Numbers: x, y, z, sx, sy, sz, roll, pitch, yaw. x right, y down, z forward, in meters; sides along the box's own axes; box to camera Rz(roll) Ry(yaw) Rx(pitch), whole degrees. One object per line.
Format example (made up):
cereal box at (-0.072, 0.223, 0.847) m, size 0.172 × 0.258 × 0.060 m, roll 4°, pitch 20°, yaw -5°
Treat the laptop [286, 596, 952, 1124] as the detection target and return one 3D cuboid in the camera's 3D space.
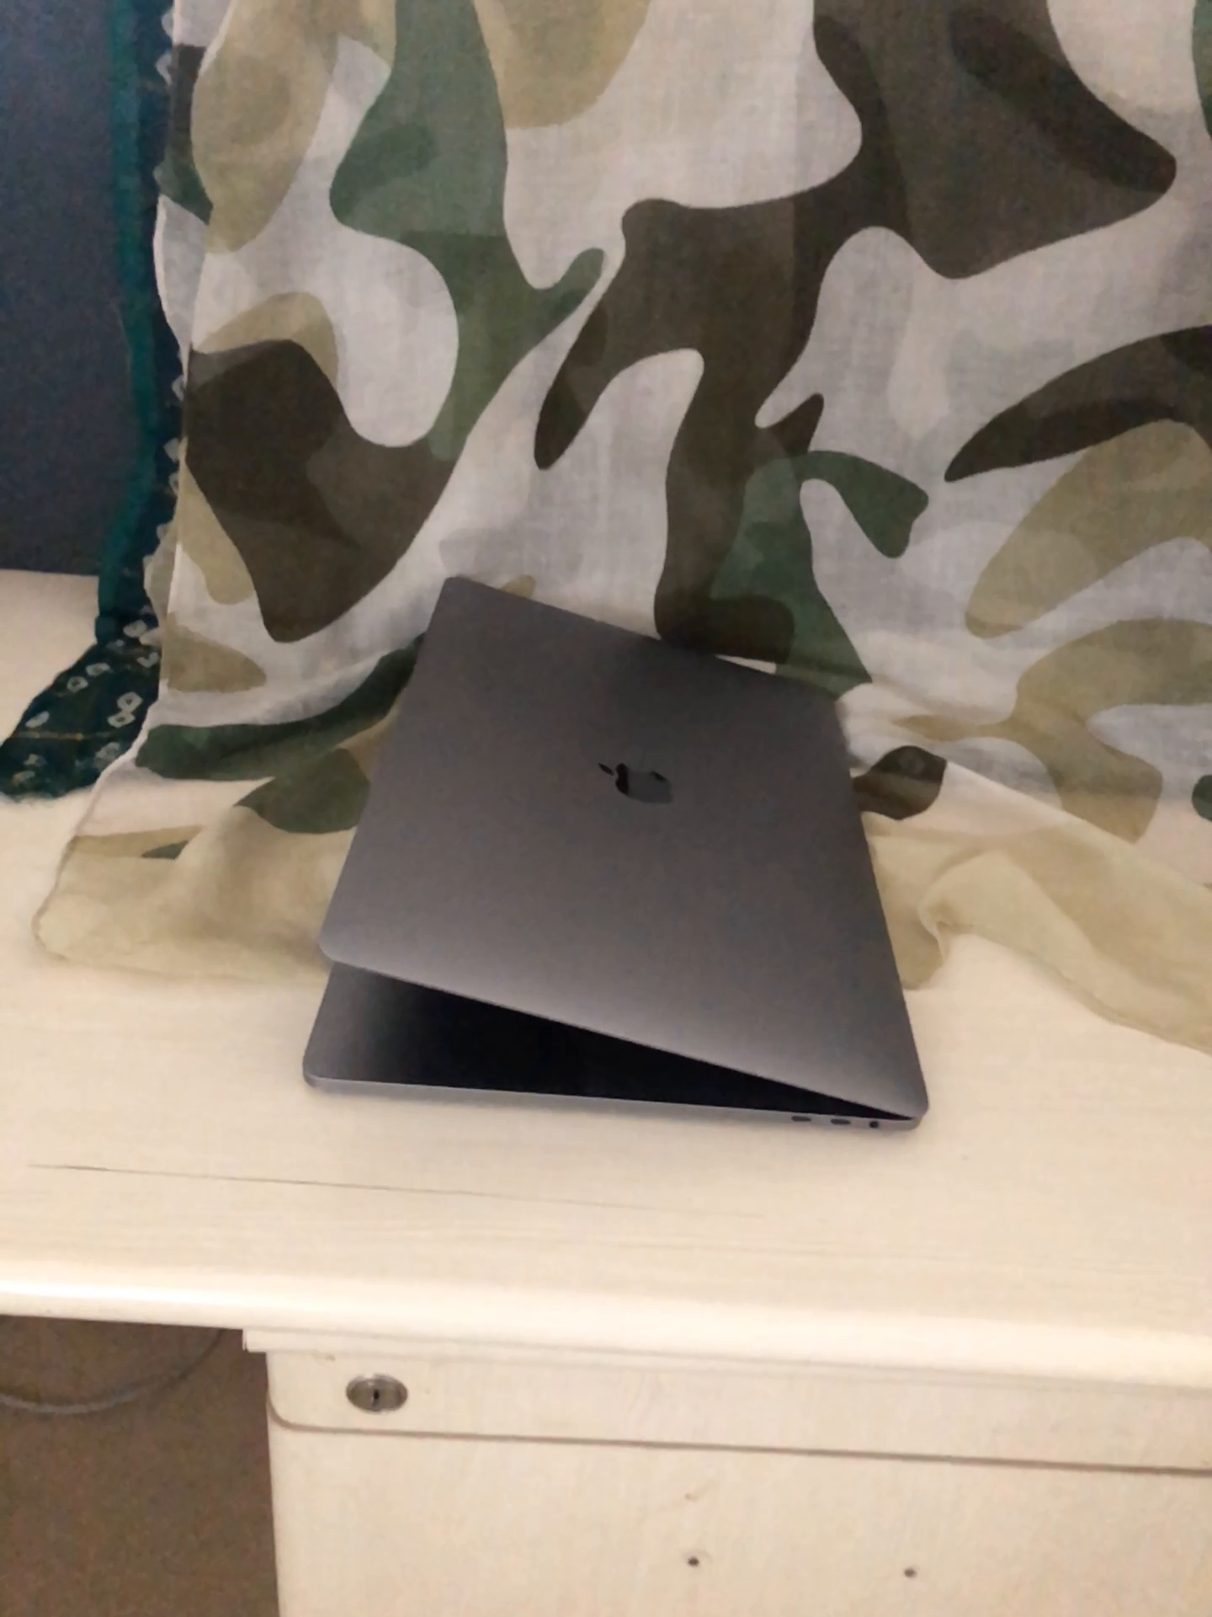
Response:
laptop at (0.011, -0.002, 0.632) m, size 0.236 × 0.058 × 0.340 m, roll 4°, pitch 31°, yaw 0°
